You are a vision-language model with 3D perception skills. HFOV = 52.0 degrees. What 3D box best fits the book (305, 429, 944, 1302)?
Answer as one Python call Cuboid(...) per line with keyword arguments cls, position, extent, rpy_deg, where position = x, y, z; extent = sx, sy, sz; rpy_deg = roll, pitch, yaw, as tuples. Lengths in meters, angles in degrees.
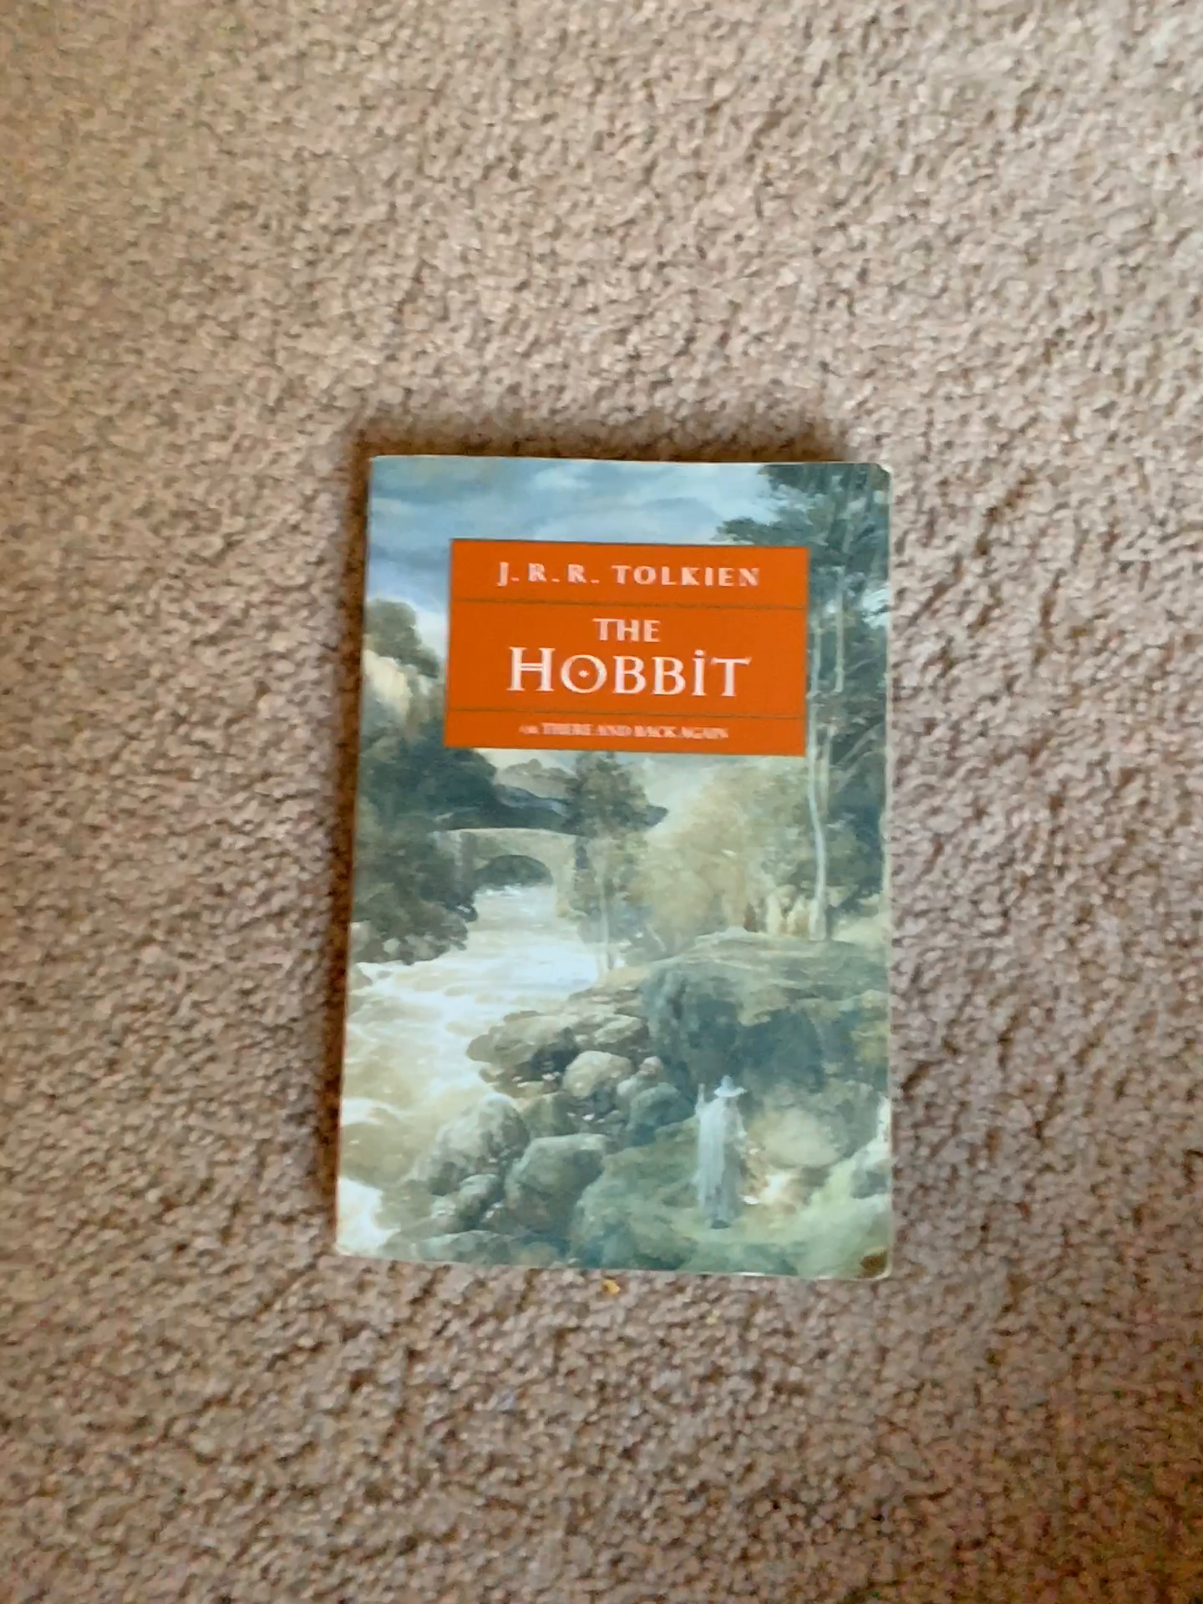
Cuboid(cls="book", position=(0.007, 0.011, 0.325), extent=(0.150, 0.030, 0.220), rpy_deg=(0, 79, 2))
